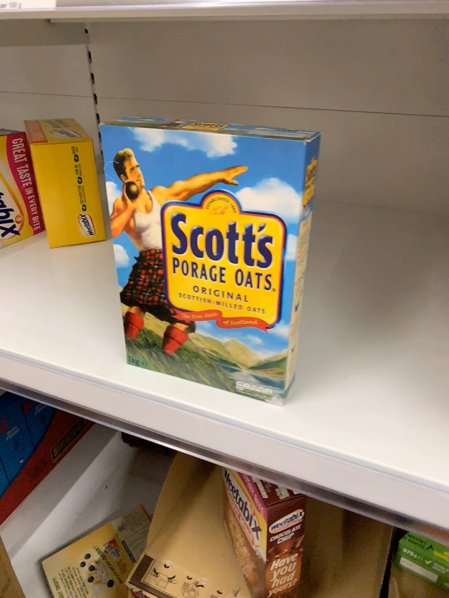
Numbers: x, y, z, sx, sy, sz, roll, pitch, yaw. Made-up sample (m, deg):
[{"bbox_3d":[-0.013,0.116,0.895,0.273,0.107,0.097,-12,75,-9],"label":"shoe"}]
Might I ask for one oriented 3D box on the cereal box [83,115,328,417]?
[{"bbox_3d":[-0.017,-0.032,0.462,0.200,0.267,0.071,11,31,19],"label":"cereal box"}]
